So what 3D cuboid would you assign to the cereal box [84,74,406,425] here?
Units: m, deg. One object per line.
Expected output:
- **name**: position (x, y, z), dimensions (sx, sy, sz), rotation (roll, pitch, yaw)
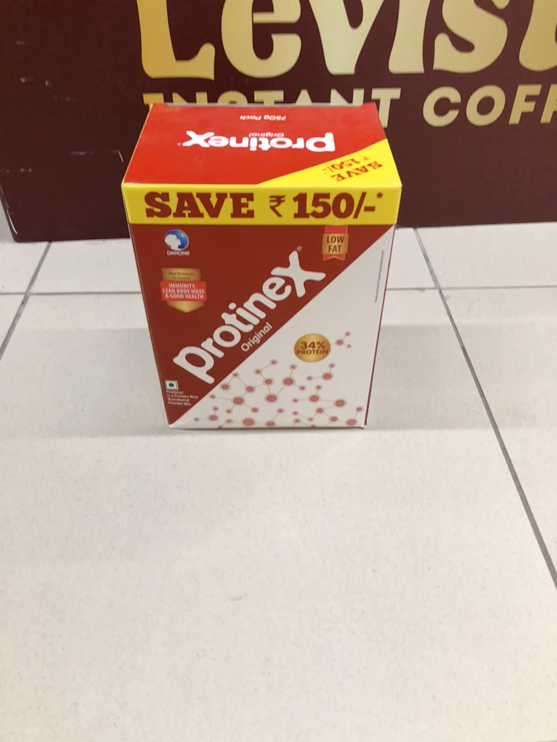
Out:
- **cereal box**: position (-0.019, -0.076, 0.417), dimensions (0.160, 0.199, 0.121), rotation (-1, 44, -2)
